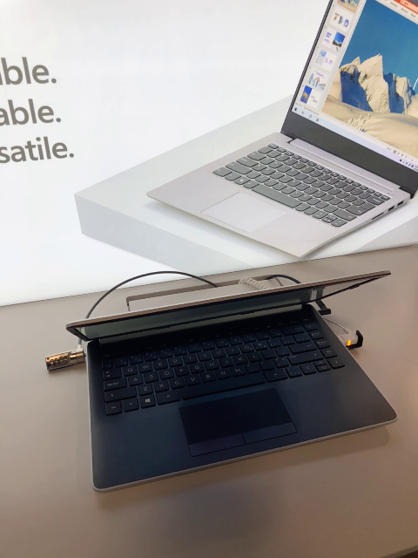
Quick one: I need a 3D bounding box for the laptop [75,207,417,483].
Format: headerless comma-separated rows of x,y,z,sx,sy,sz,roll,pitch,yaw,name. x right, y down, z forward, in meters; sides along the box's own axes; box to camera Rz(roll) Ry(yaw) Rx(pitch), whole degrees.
0.020,0.048,0.508,0.302,0.155,0.226,-9,30,-11,laptop
